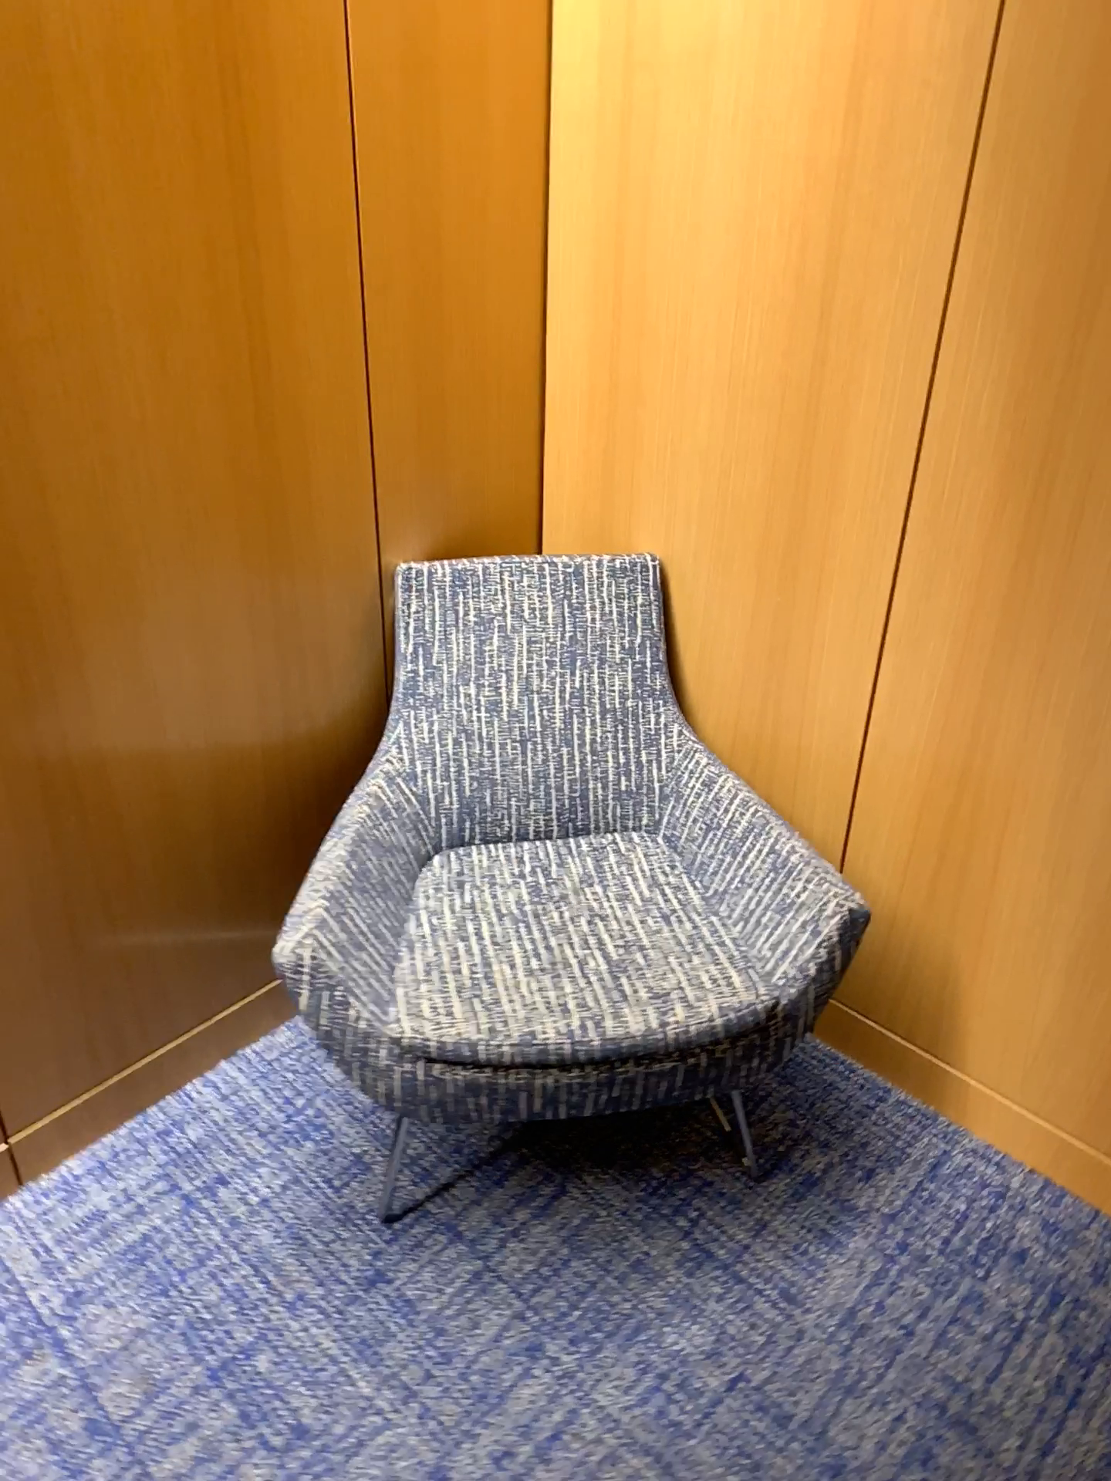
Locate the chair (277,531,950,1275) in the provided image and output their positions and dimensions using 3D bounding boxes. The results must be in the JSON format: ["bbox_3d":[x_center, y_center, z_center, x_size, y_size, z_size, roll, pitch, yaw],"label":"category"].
[{"bbox_3d":[0.011,0.183,1.594,0.699,0.746,0.617,-4,31,-10],"label":"chair"}]
